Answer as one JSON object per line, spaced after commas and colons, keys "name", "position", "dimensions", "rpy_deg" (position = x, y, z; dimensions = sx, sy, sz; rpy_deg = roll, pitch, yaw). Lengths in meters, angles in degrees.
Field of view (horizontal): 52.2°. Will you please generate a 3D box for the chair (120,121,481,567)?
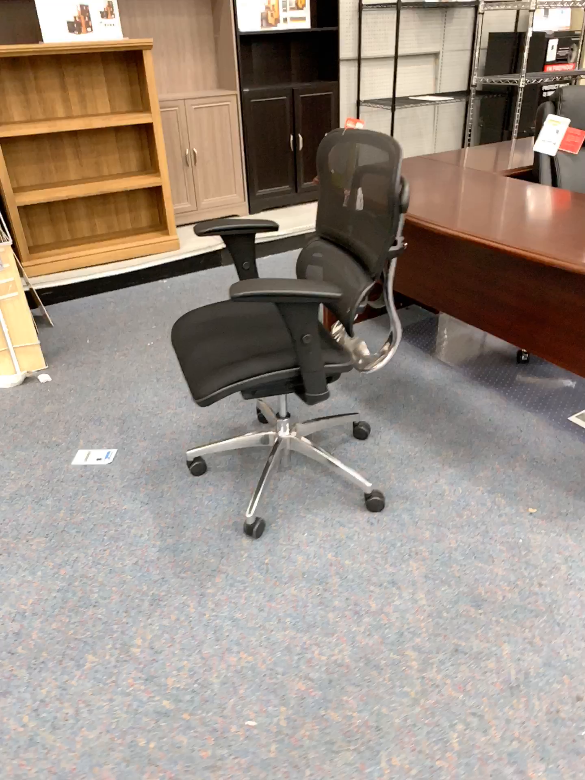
{"name": "chair", "position": [-0.014, -0.185, 1.749], "dimensions": [0.685, 0.982, 0.700], "rpy_deg": [-14, 33, -18]}
